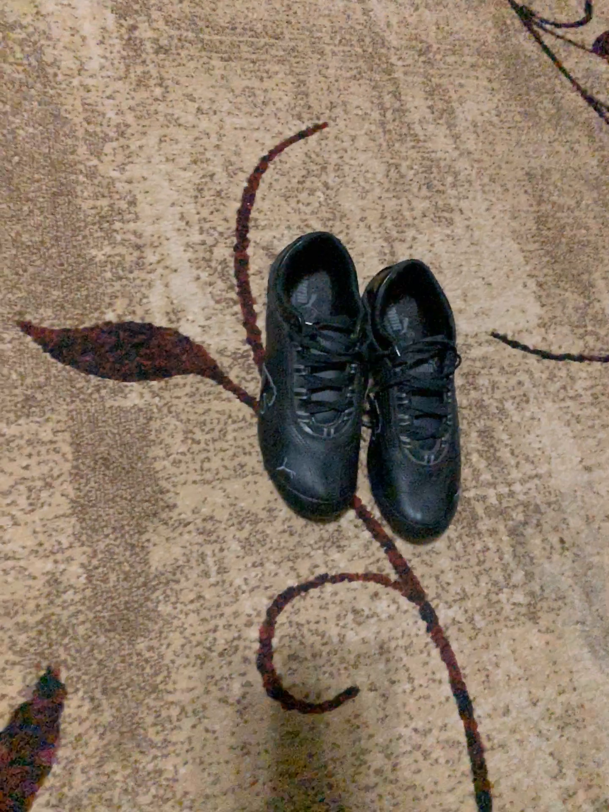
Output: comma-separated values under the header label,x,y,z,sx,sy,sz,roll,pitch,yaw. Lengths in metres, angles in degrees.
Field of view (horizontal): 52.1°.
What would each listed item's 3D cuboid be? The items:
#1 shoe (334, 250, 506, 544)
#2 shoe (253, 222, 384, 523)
label,x,y,z,sx,sy,sz,roll,pitch,yaw
shoe,0.094,-0.010,0.551,0.088,0.073,0.244,-1,72,-16
shoe,0.006,-0.028,0.534,0.086,0.073,0.244,3,70,-15
